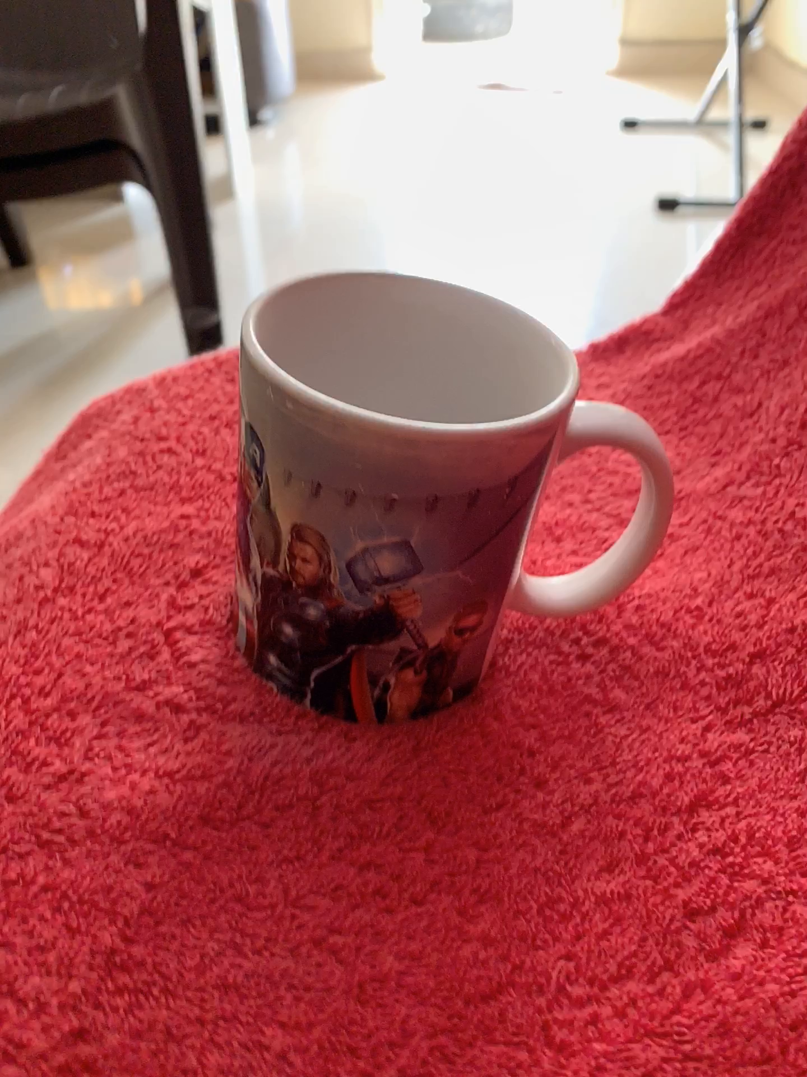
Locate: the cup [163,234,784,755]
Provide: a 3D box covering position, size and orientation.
[{"bbox_3d":[0.011,-0.012,0.226,0.120,0.089,0.091,6,43,-3],"label":"cup"}]
